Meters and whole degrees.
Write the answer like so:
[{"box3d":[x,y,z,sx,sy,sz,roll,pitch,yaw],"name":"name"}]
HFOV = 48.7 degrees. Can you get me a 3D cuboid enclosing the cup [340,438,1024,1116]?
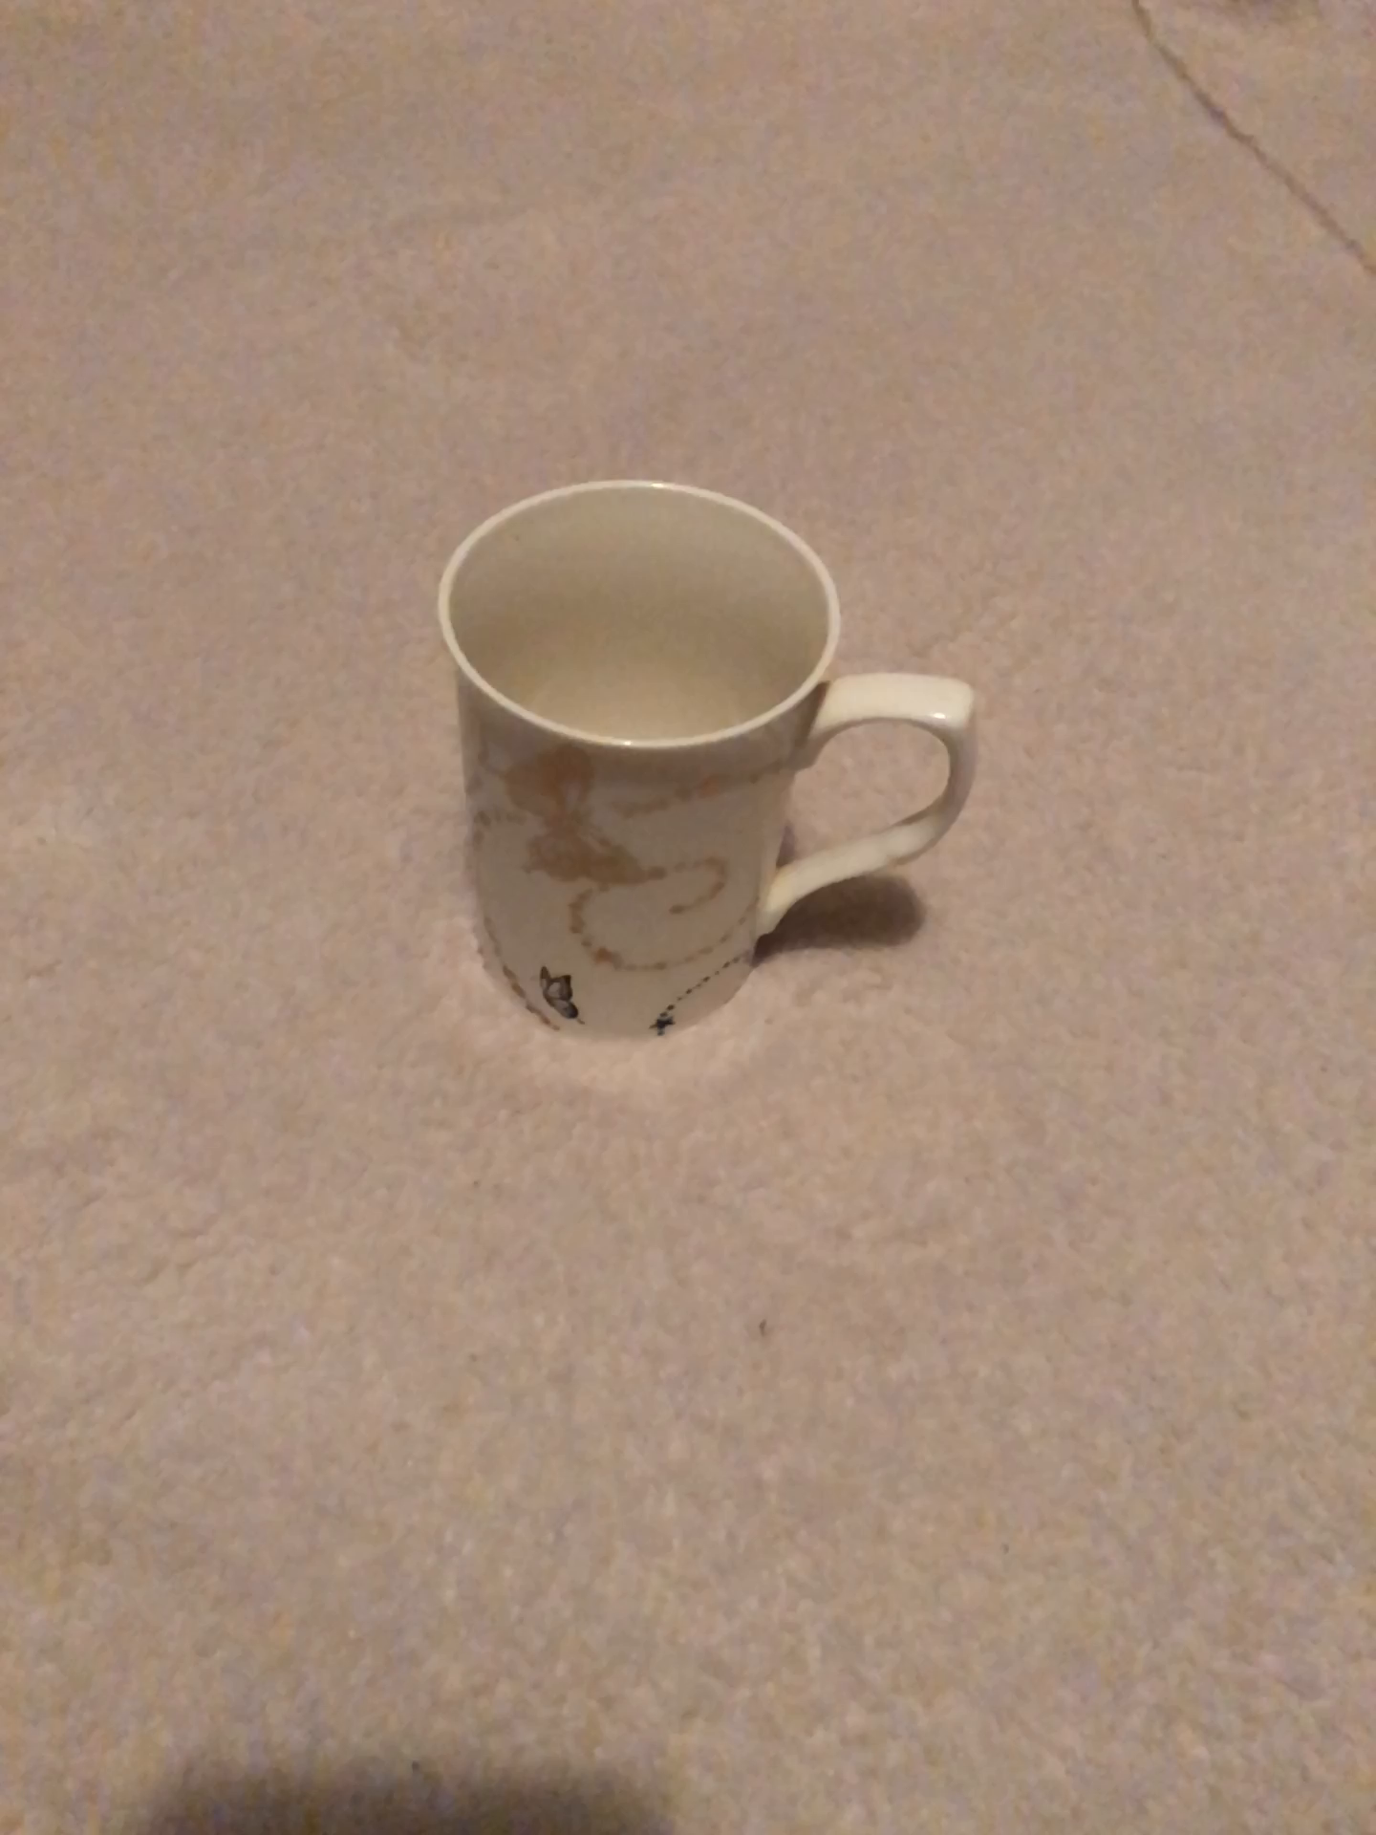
[{"box3d":[0.001,-0.025,0.314,0.112,0.110,0.074,6,53,2],"name":"cup"}]
